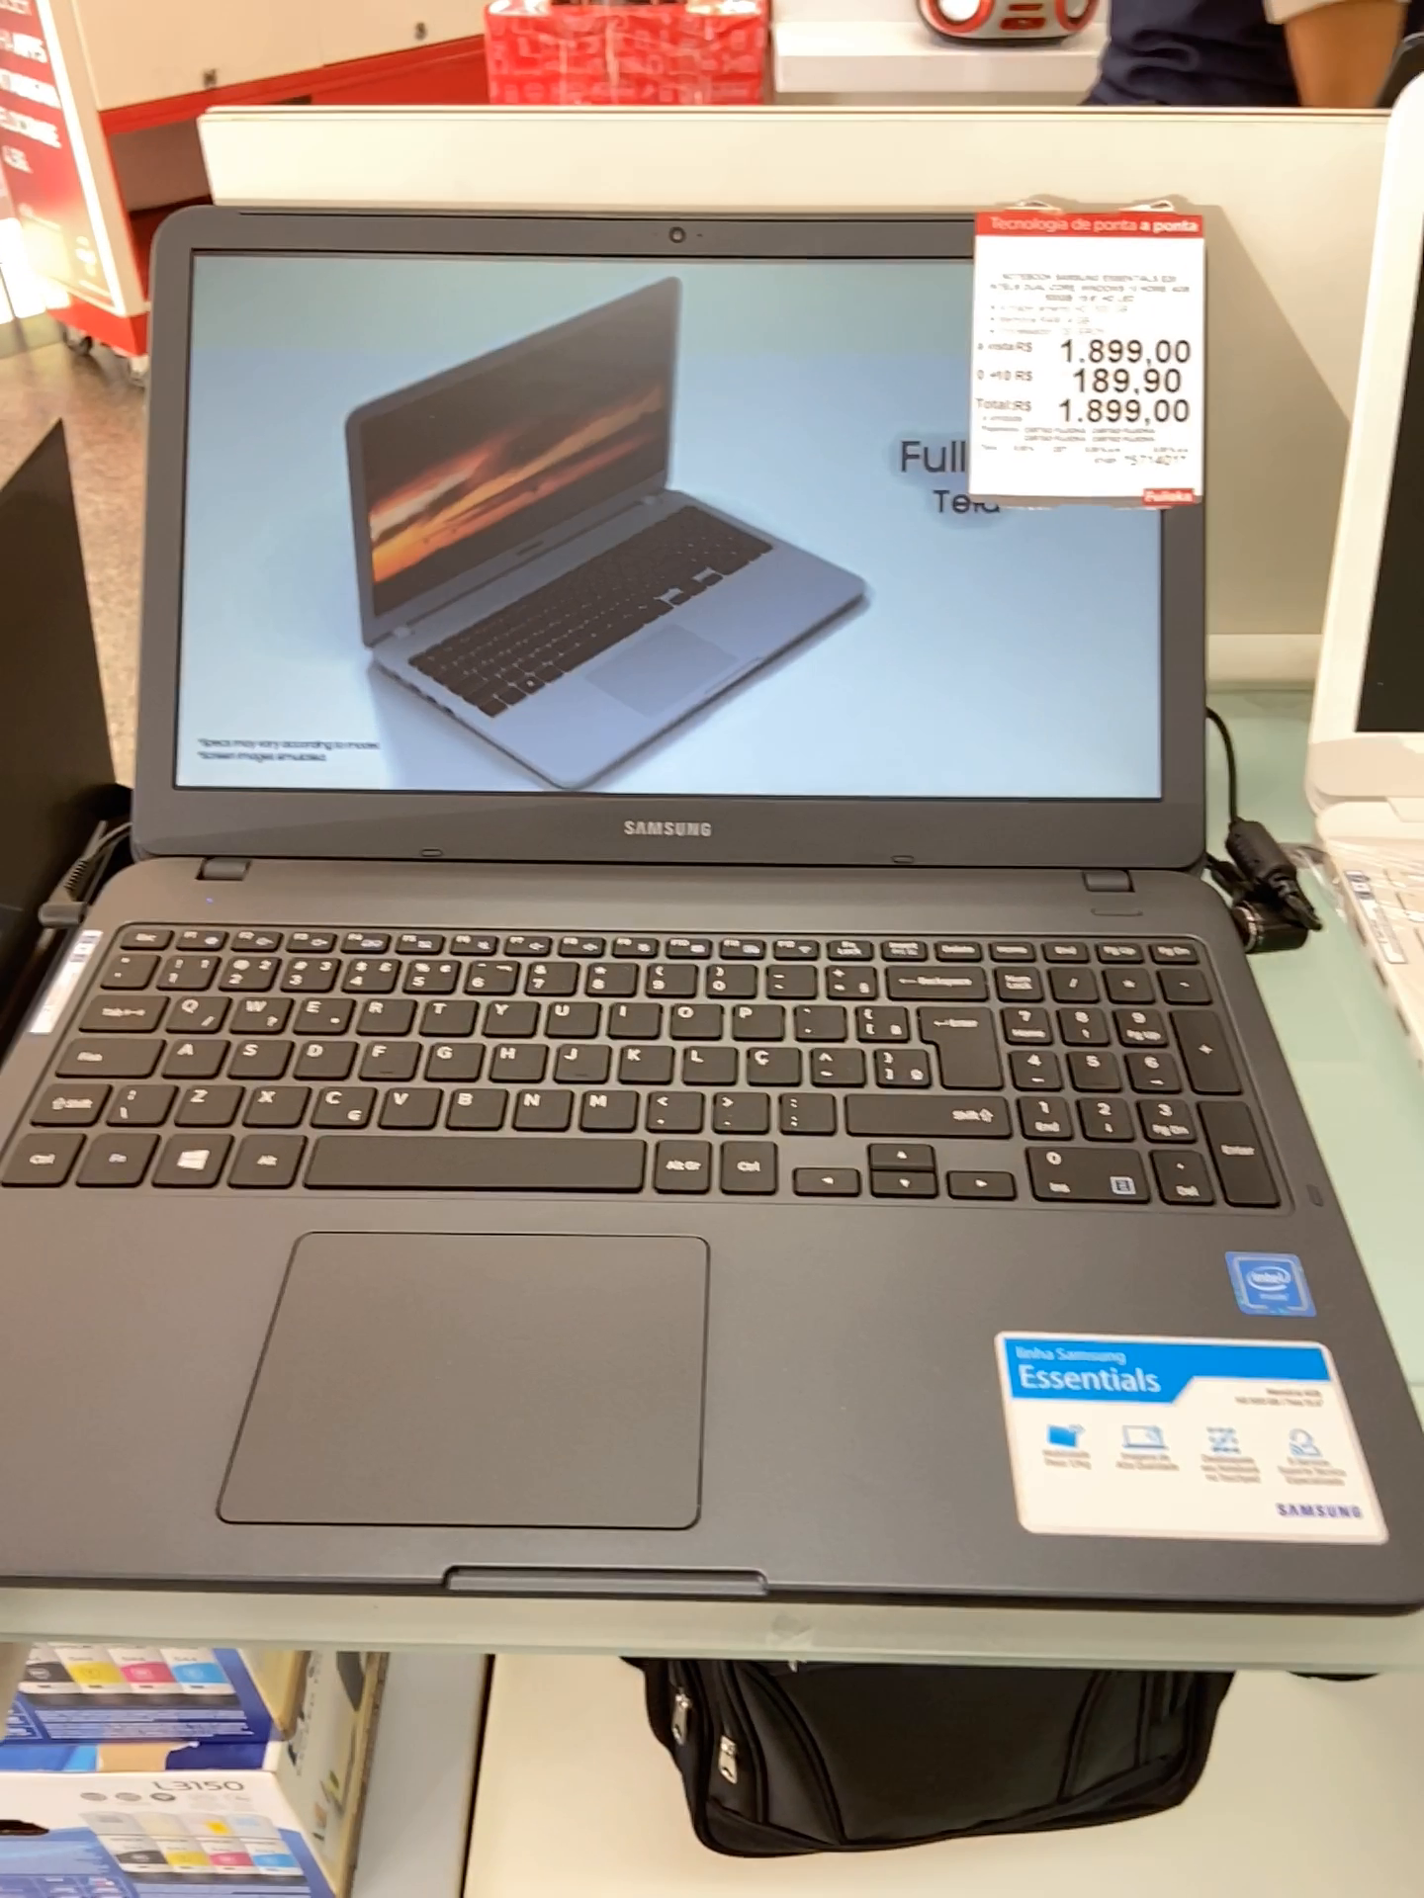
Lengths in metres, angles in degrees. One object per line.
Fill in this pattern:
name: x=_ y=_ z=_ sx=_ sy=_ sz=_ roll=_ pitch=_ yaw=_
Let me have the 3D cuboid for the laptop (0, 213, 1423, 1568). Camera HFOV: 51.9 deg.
laptop: x=-0.017 y=-0.064 z=0.422 sx=0.367 sy=0.157 sz=0.414 roll=0 pitch=42 yaw=2
